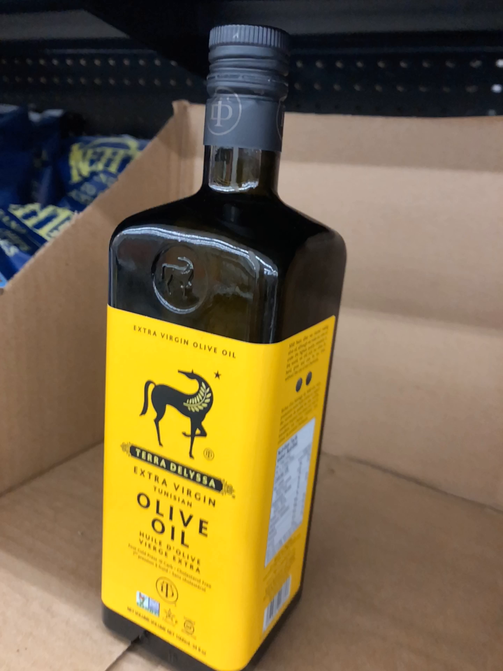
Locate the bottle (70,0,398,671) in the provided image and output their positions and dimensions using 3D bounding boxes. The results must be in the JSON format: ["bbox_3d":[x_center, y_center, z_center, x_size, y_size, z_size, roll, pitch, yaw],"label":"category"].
[{"bbox_3d":[-0.010,0.011,0.257,0.090,0.288,0.090,3,18,-1],"label":"bottle"}]
